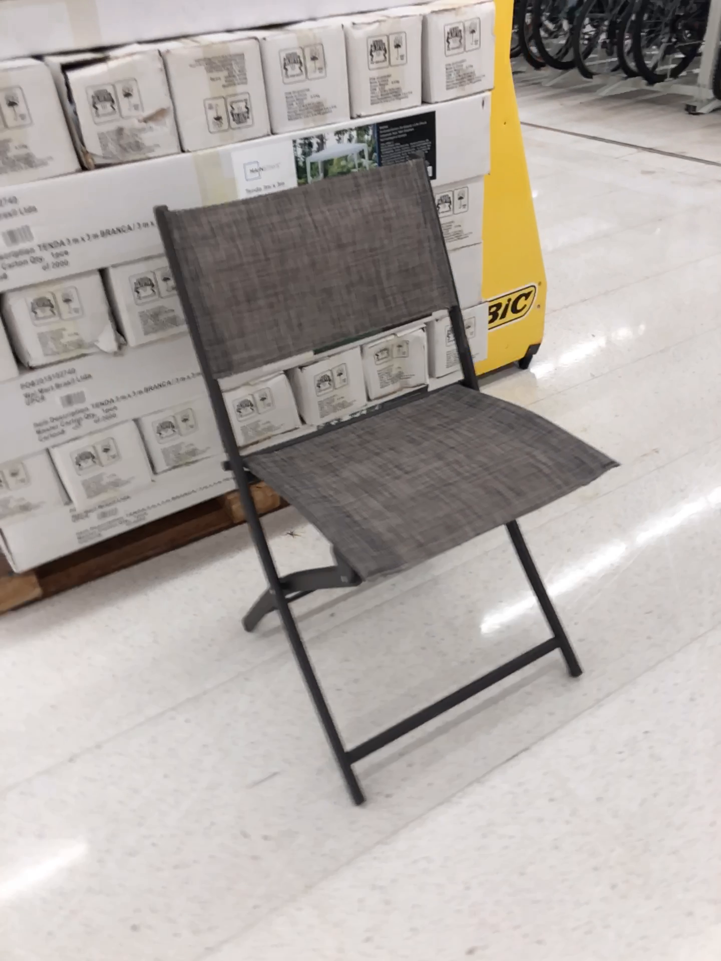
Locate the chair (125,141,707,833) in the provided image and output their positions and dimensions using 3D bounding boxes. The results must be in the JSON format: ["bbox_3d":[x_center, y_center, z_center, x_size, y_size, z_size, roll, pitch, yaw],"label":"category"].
[{"bbox_3d":[0.059,-0.019,1.171,0.511,0.754,0.503,-22,39,-23],"label":"chair"}]
